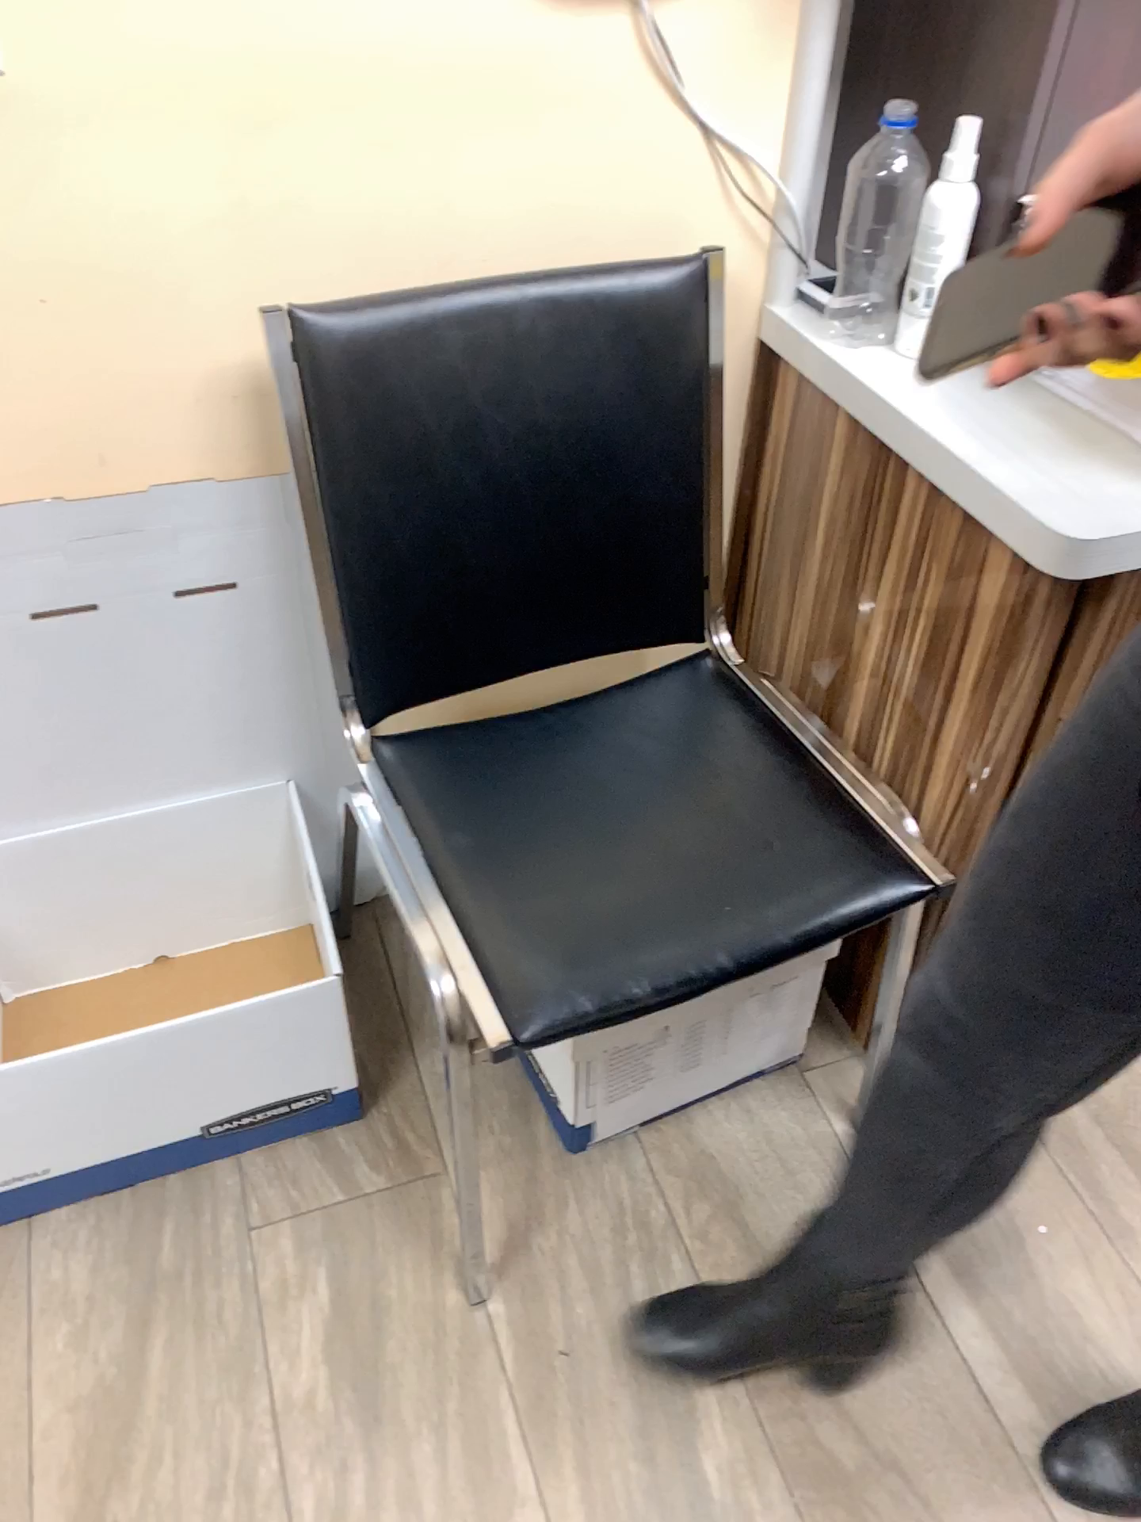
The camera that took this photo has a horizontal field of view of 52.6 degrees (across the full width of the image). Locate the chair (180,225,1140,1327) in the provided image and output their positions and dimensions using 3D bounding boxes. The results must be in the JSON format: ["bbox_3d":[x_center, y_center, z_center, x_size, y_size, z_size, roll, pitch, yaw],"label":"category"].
[{"bbox_3d":[0.033,0.021,1.125,0.555,0.813,0.530,-16,46,-18],"label":"chair"}]
